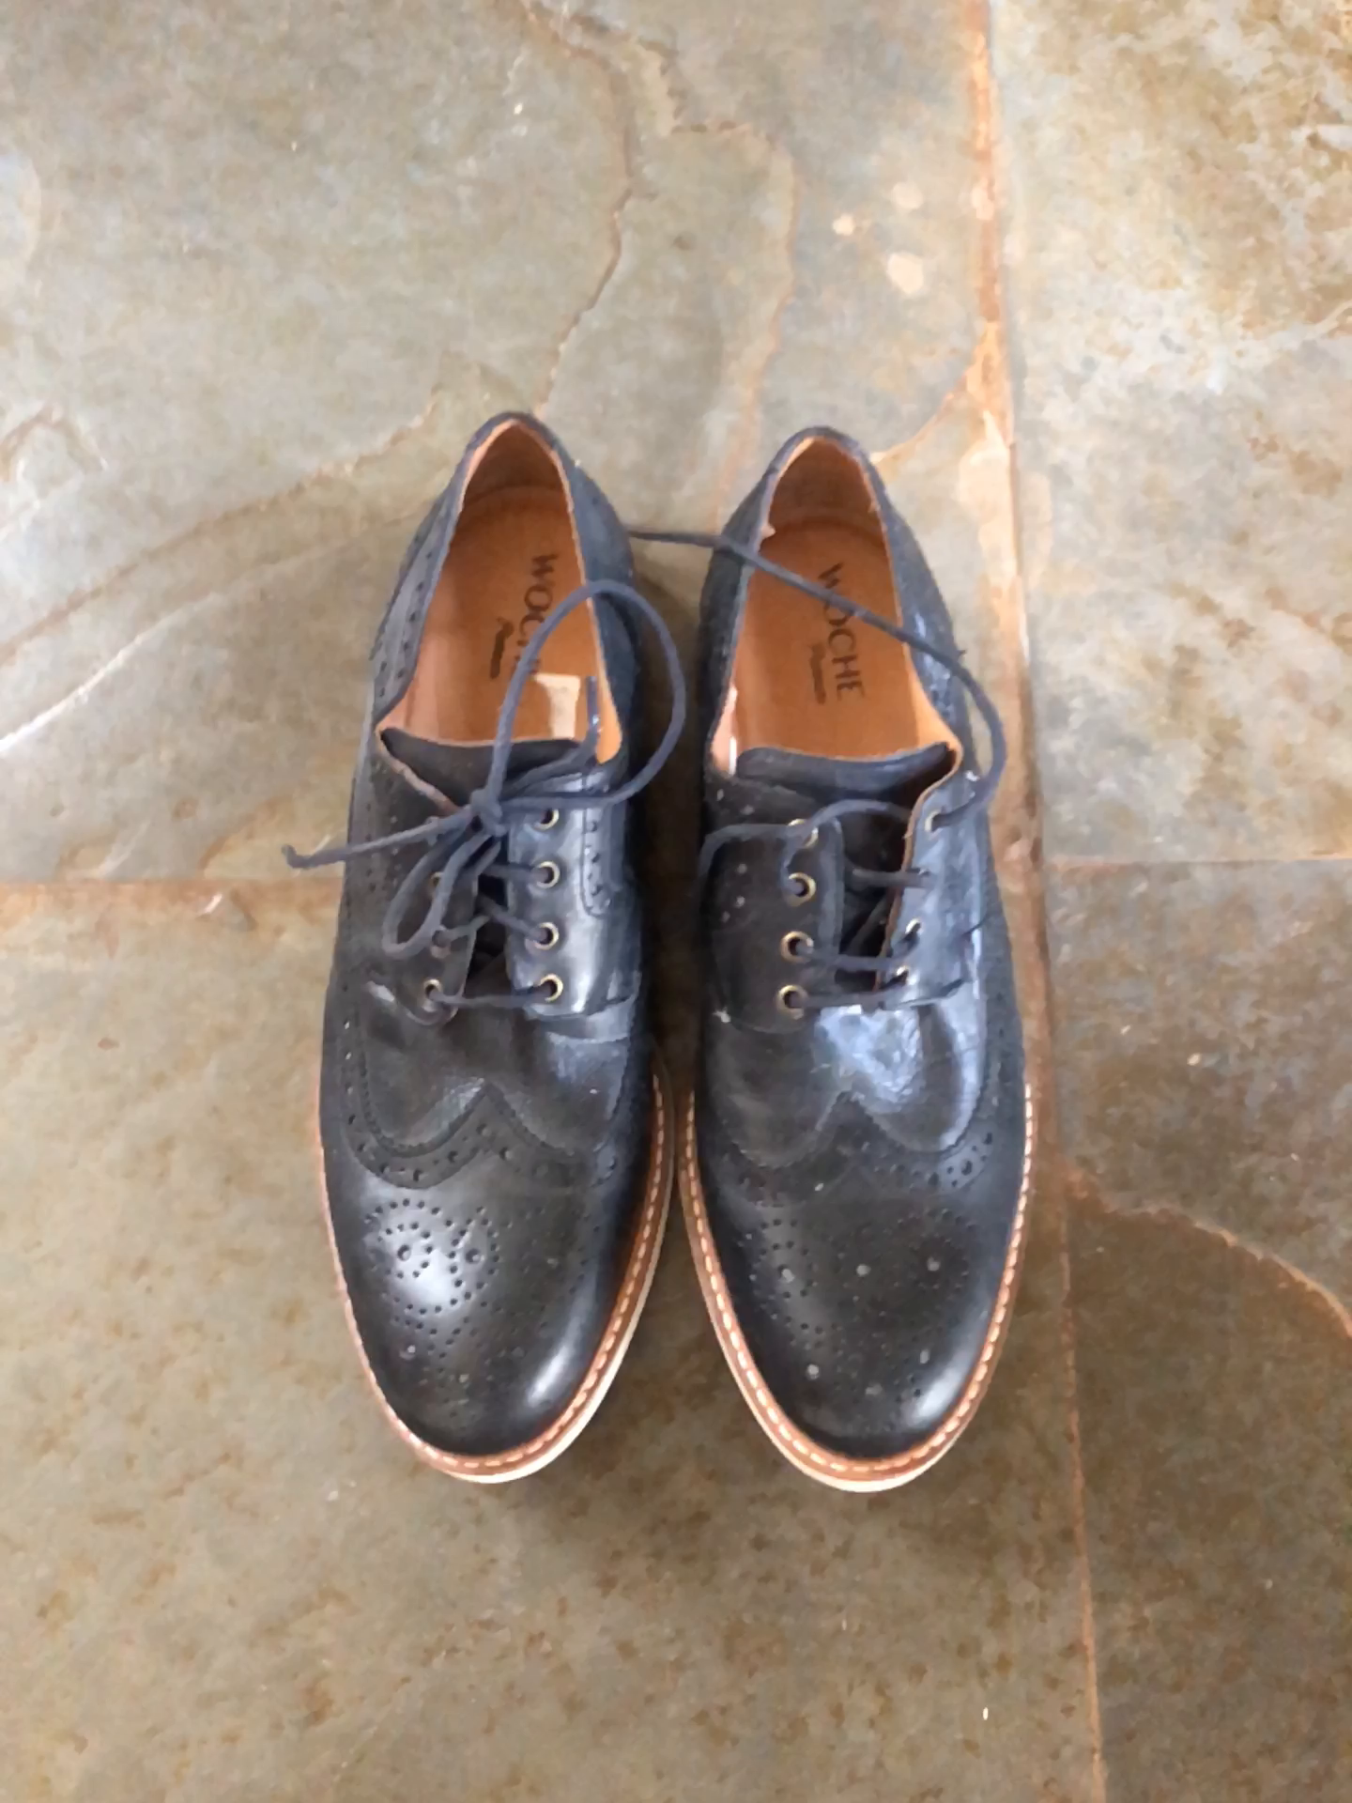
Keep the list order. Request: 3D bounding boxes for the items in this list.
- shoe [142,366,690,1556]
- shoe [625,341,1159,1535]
[{"bbox_3d":[-0.055,0.011,0.406,0.110,0.100,0.291,1,75,2],"label":"shoe"},{"bbox_3d":[0.048,0.007,0.420,0.110,0.100,0.301,-3,75,1],"label":"shoe"}]
